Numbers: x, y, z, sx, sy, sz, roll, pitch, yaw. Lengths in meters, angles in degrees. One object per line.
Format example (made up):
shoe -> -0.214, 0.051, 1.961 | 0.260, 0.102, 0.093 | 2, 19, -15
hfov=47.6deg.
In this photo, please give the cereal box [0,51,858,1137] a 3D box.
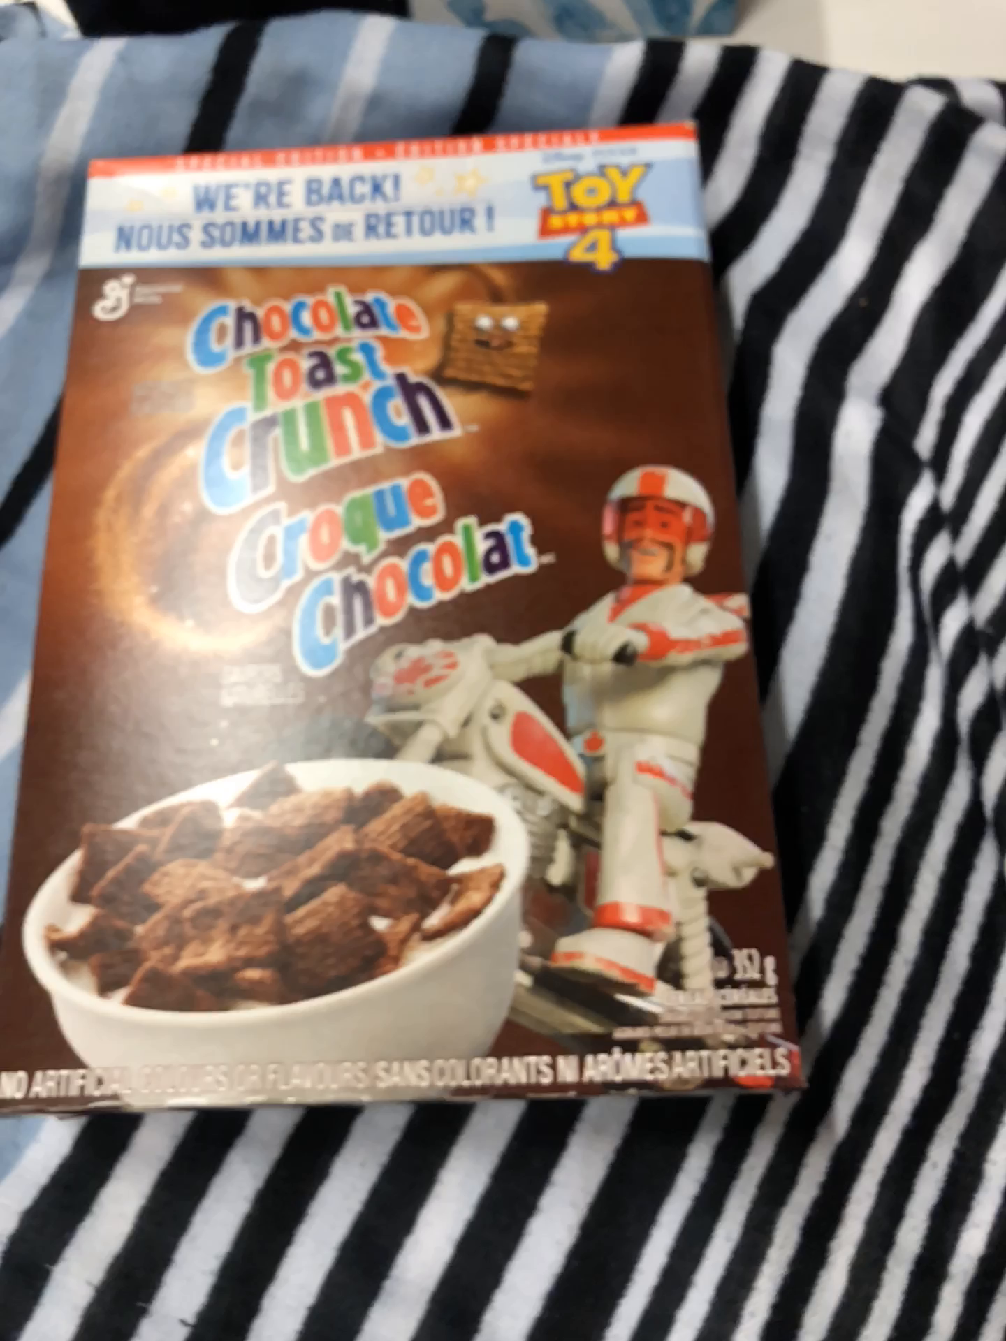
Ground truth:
cereal box -> -0.030, -0.032, 0.335 | 0.210, 0.060, 0.300 | -3, 73, 1
